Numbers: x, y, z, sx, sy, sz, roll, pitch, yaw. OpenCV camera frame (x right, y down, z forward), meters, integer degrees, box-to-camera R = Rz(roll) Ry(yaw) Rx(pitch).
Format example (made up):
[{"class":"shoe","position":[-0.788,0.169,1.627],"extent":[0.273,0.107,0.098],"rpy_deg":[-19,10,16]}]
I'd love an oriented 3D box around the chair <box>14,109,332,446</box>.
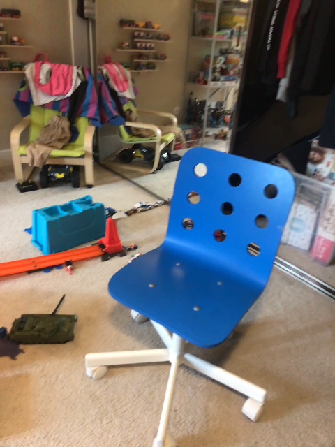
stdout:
[{"class":"chair","position":[0.005,0.151,0.872],"extent":[0.519,0.705,0.363],"rpy_deg":[18,30,23]}]
